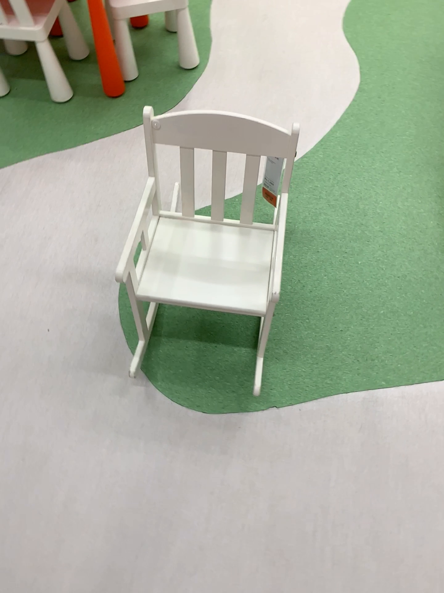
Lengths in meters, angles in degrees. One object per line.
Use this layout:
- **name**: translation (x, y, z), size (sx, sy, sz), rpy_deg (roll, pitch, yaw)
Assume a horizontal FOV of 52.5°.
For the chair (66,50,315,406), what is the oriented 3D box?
- **chair**: translation (-0.026, -0.166, 1.189), size (0.410, 0.499, 0.731), rpy_deg (8, 62, 4)
